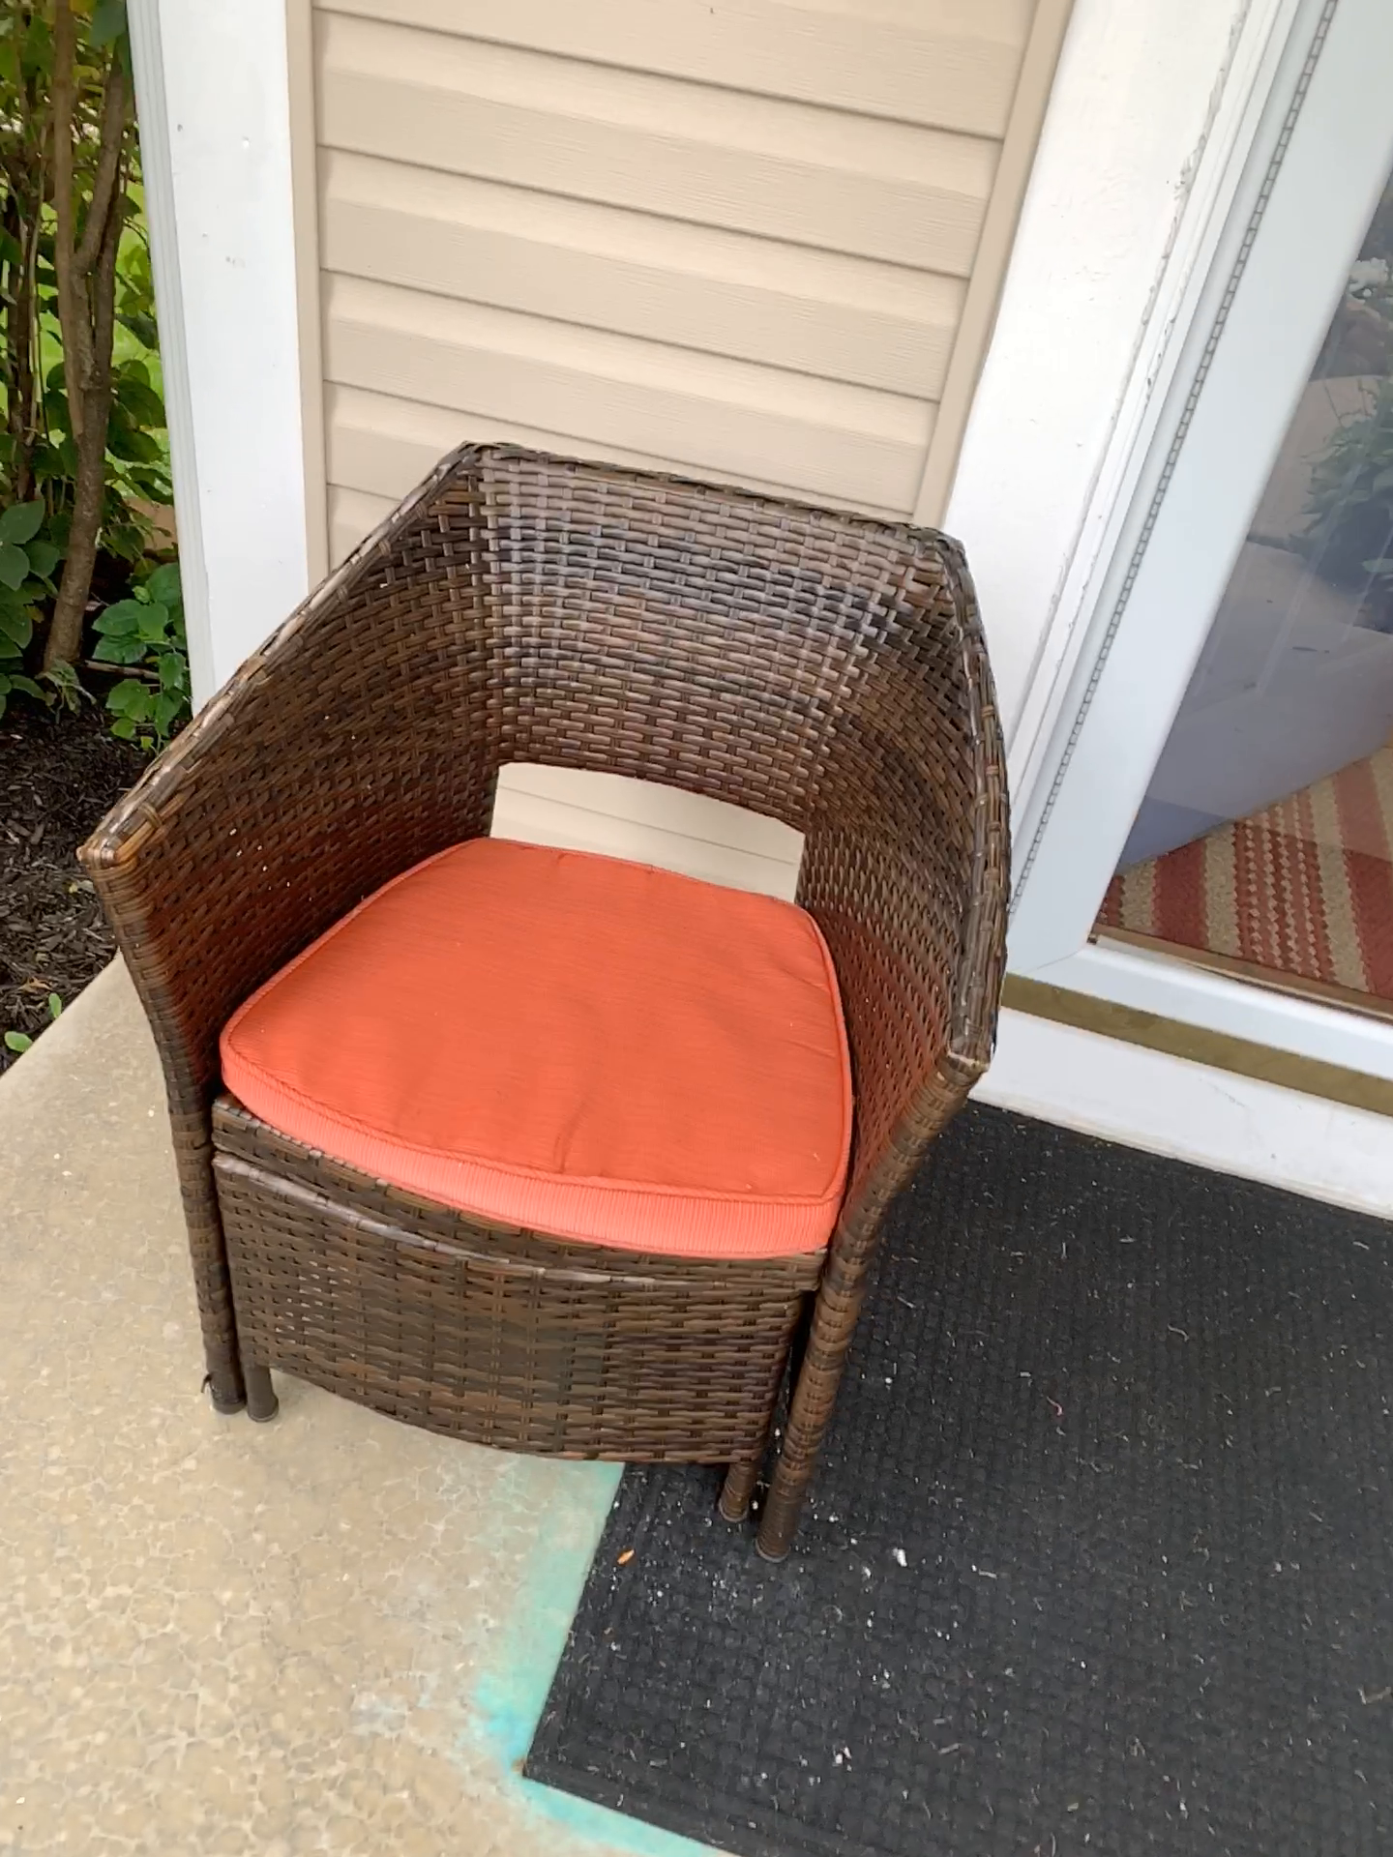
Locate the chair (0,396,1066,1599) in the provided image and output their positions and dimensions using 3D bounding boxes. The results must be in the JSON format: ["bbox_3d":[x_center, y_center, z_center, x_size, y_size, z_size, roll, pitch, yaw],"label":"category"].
[{"bbox_3d":[-0.106,0.050,1.285,0.641,0.757,0.610,12,37,3],"label":"chair"}]
